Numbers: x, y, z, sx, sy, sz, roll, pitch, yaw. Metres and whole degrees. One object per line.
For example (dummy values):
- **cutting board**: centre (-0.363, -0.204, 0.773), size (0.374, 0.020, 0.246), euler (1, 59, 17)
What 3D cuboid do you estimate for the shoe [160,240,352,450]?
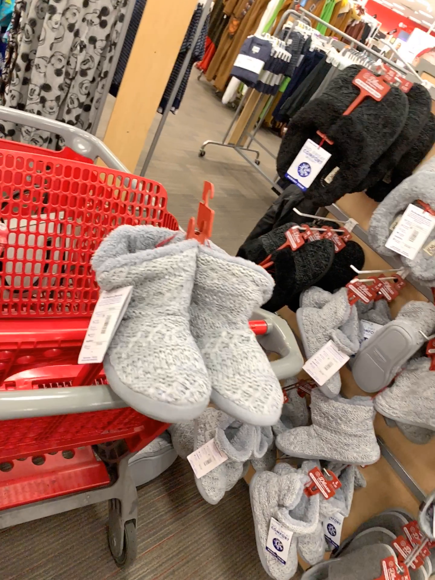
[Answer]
- **shoe**: centre (0.031, 0.058, 0.557), size (0.110, 0.119, 0.231), euler (6, 35, -33)

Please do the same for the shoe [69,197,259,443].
- **shoe**: centre (-0.081, 0.023, 0.520), size (0.110, 0.139, 0.251), euler (6, 35, -33)
